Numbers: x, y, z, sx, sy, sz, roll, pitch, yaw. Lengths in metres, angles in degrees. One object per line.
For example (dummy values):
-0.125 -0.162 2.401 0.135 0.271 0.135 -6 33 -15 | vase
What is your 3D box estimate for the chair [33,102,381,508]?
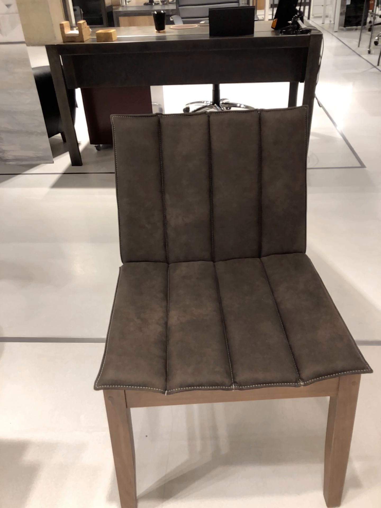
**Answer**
0.078 0.127 0.998 0.540 0.774 0.574 -3 34 1 | chair
